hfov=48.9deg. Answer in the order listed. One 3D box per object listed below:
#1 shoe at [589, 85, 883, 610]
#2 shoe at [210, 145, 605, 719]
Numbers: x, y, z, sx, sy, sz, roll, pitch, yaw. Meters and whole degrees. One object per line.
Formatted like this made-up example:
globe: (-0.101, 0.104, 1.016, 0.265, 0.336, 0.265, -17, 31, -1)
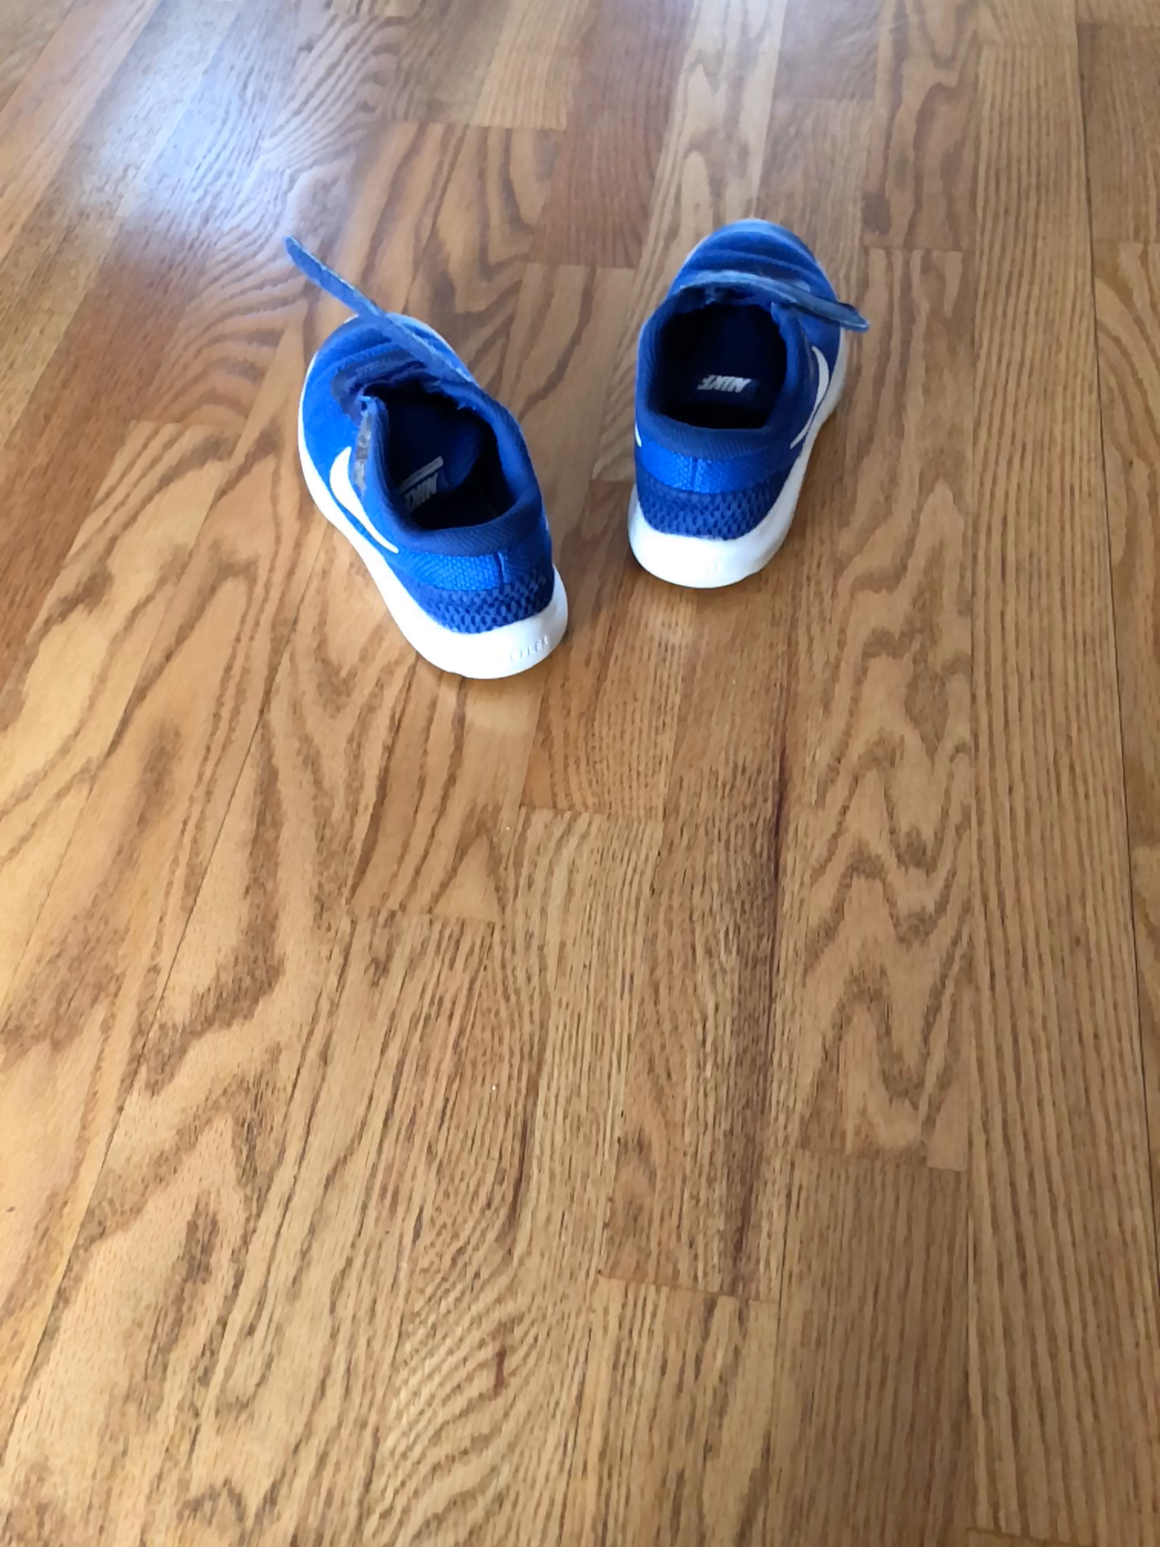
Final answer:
shoe: (0.070, -0.188, 0.548, 0.093, 0.092, 0.215, 7, 59, 8)
shoe: (-0.072, -0.145, 0.523, 0.093, 0.092, 0.215, -18, 59, -8)
